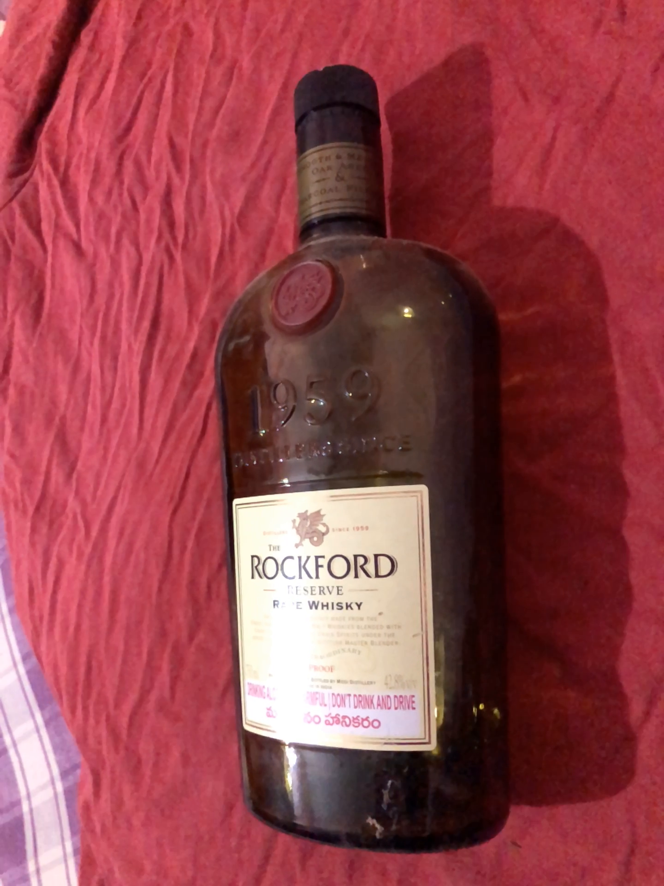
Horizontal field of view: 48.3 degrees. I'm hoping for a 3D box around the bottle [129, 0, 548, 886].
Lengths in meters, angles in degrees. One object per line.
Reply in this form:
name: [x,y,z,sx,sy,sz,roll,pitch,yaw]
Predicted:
bottle: [-0.003,-0.010,0.230,0.100,0.060,0.250,-7,81,31]
